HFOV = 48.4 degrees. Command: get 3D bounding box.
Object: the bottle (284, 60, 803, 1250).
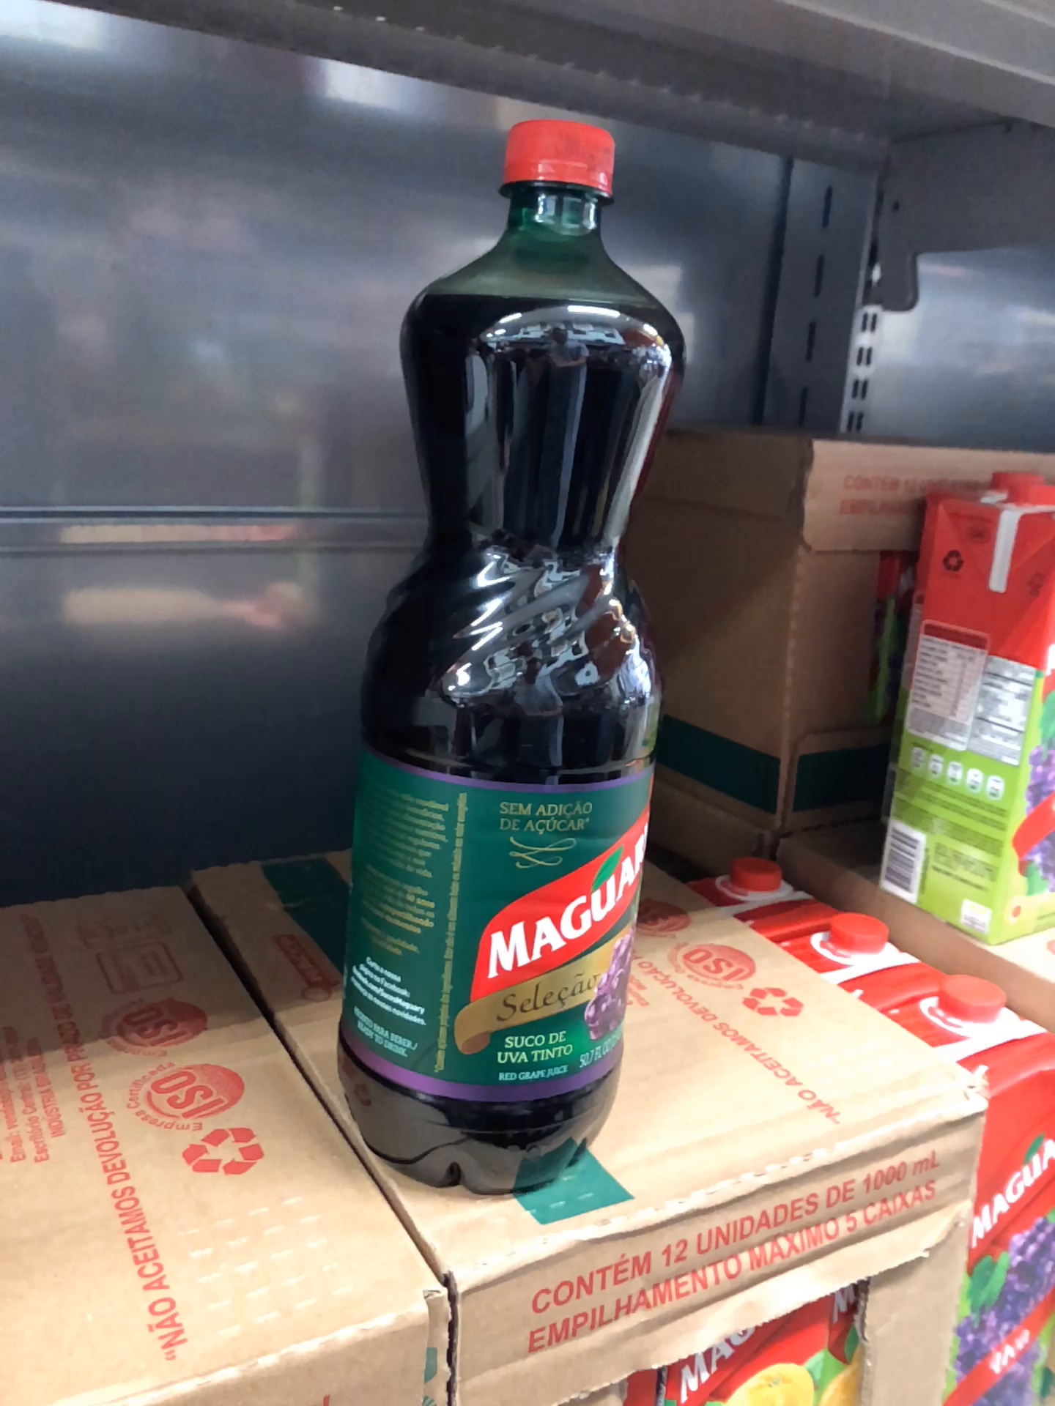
[{"bbox_3d":[0.000,-0.010,0.340,0.080,0.289,0.100,17,18,41],"label":"bottle"}]
